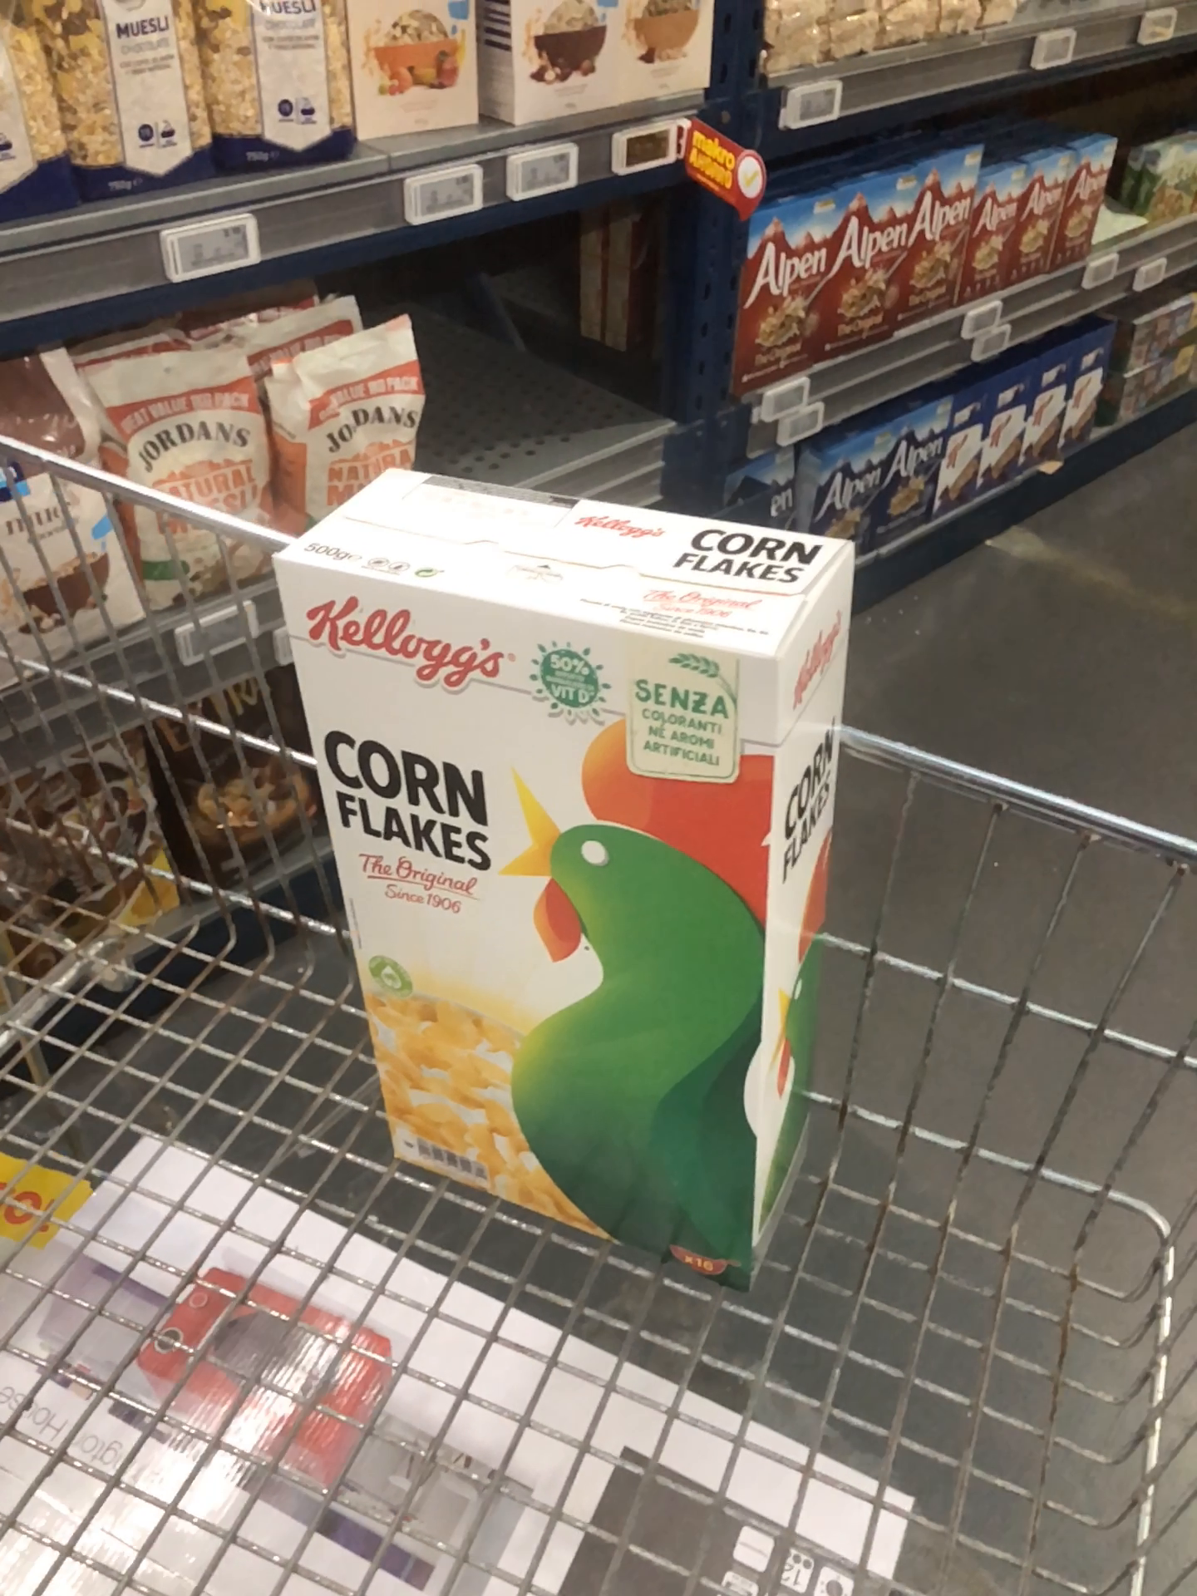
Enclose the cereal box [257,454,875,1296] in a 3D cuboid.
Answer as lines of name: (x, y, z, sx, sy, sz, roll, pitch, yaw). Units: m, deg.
cereal box: (-0.005, 0.043, 0.551, 0.190, 0.329, 0.090, 14, 41, 20)
